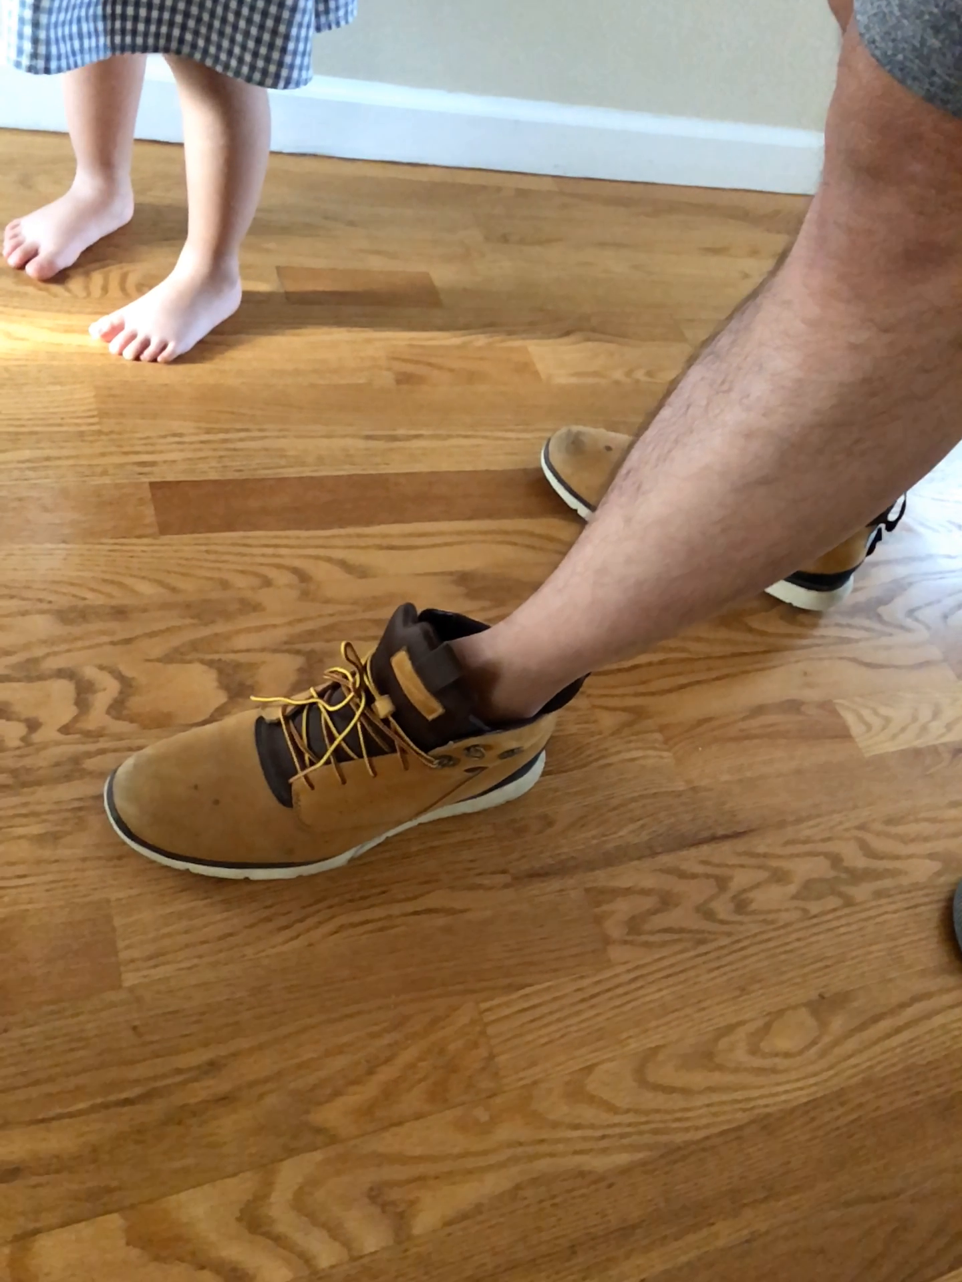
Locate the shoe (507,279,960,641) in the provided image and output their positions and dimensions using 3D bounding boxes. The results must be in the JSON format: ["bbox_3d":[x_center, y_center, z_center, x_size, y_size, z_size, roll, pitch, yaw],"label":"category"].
[{"bbox_3d":[0.214,-0.152,0.918,0.330,0.159,0.131,21,50,-4],"label":"shoe"}]

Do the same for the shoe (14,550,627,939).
[{"bbox_3d":[-0.097,0.054,0.628,0.311,0.139,0.130,-8,57,-24],"label":"shoe"}]

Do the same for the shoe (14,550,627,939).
[{"bbox_3d":[-0.097,0.054,0.628,0.311,0.139,0.130,-8,57,-24],"label":"shoe"}]
